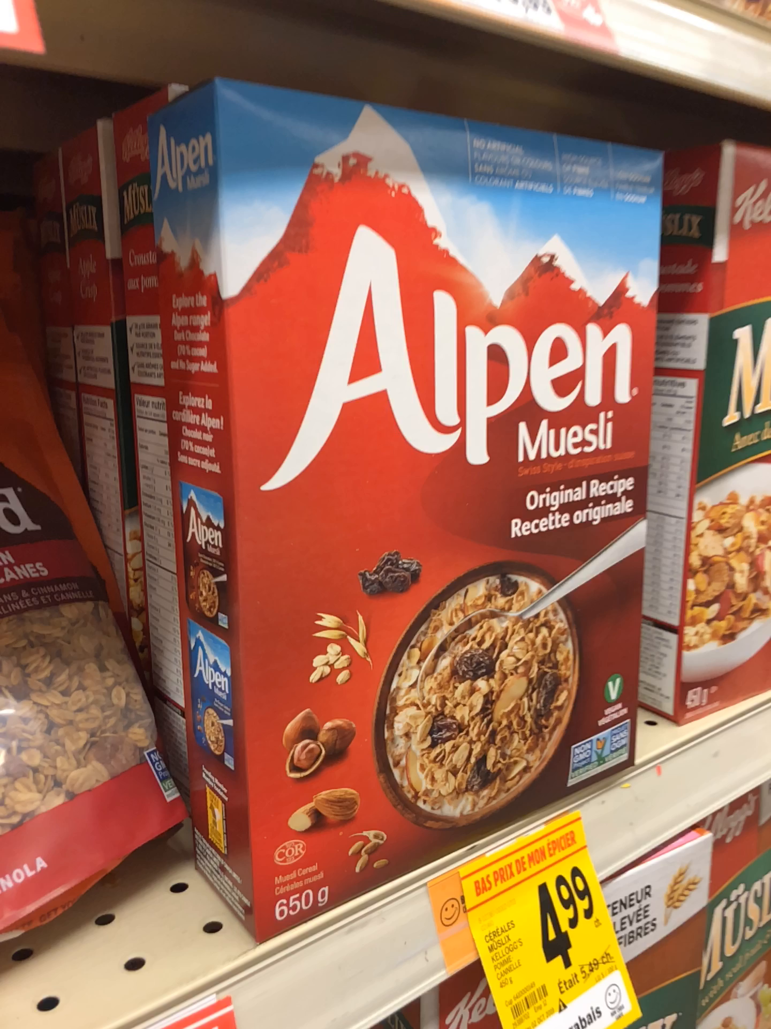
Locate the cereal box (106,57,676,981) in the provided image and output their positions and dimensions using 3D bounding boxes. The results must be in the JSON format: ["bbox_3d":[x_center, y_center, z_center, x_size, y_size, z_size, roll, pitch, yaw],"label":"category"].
[{"bbox_3d":[0.011,-0.003,0.293,0.180,0.239,0.060,-9,15,-37],"label":"cereal box"}]
